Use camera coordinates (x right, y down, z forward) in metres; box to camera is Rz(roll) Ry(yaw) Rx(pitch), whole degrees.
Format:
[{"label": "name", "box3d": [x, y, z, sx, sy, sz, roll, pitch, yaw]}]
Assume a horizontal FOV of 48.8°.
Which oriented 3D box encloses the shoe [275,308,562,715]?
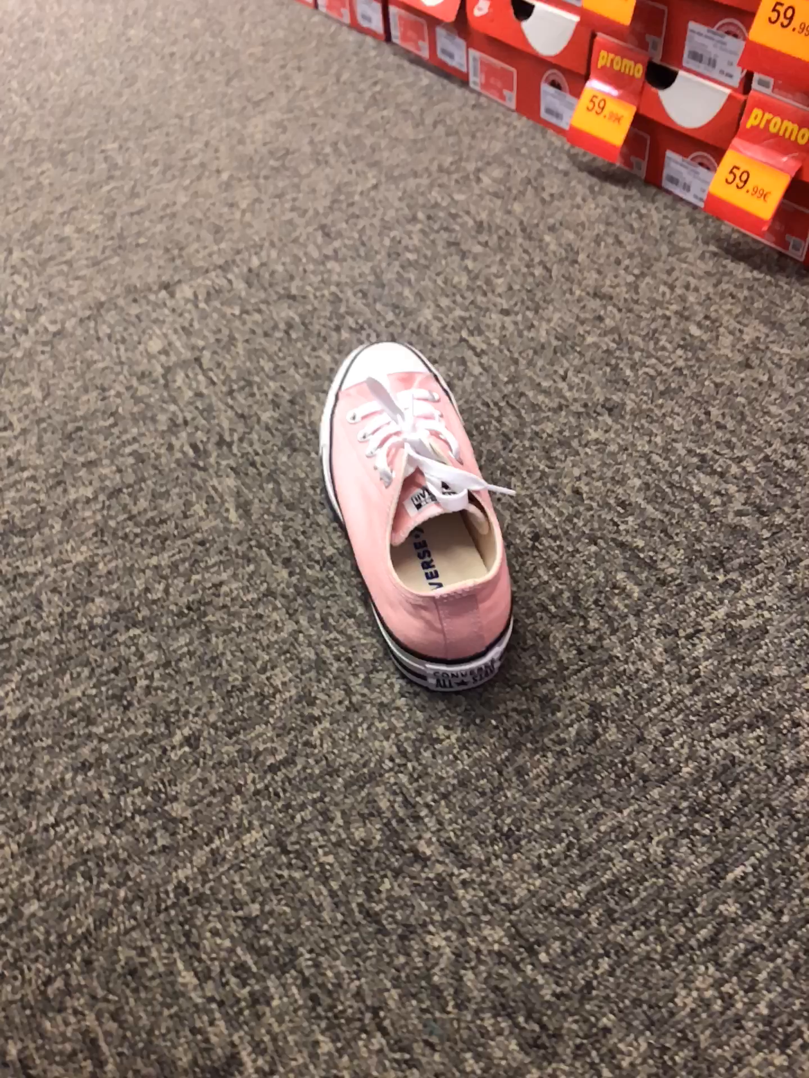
[{"label": "shoe", "box3d": [-0.005, -0.037, 0.523, 0.100, 0.060, 0.281, -12, 42, -6]}]
